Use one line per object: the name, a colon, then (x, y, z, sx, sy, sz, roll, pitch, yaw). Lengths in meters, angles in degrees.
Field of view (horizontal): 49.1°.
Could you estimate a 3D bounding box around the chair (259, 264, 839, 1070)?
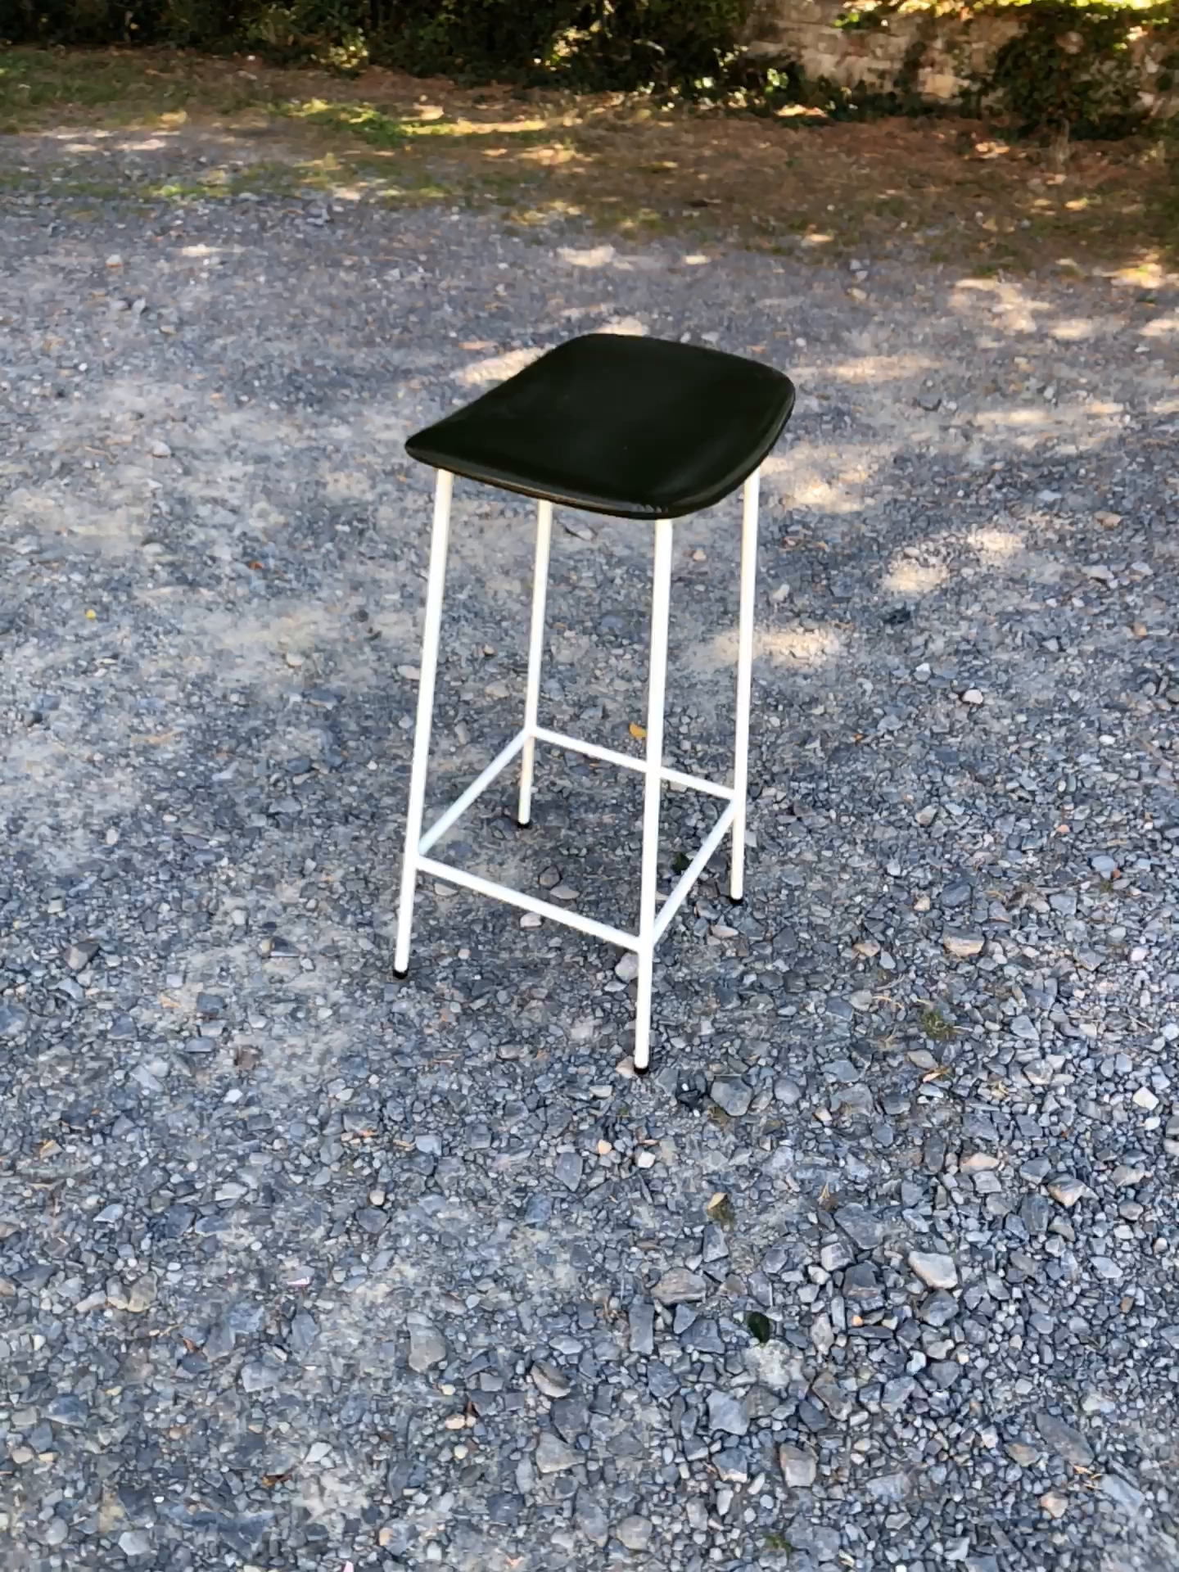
chair: (-0.023, -0.117, 1.314, 0.370, 0.646, 0.372, 17, 42, 19)
